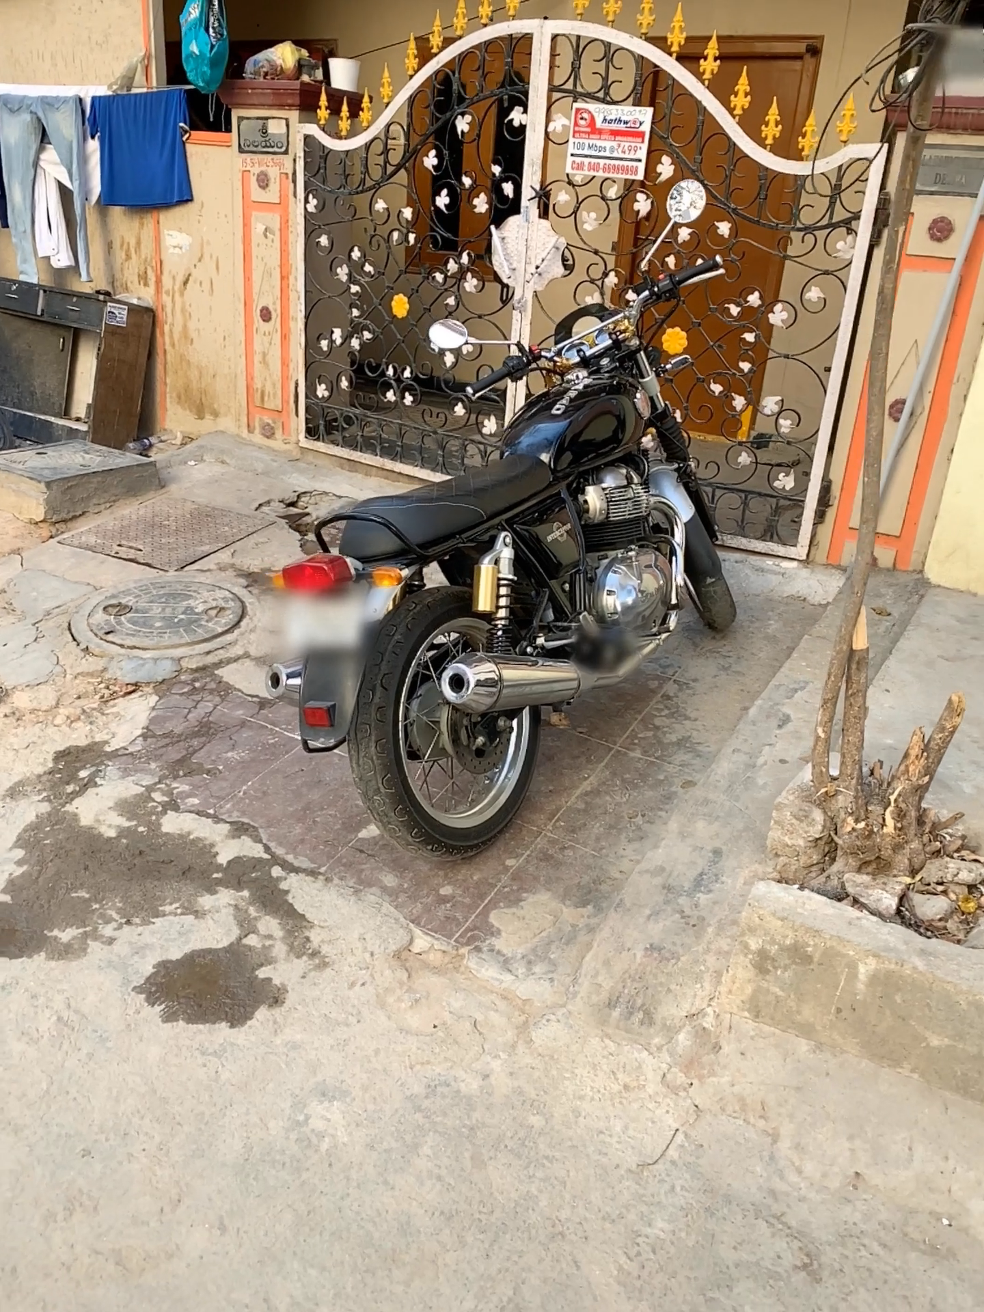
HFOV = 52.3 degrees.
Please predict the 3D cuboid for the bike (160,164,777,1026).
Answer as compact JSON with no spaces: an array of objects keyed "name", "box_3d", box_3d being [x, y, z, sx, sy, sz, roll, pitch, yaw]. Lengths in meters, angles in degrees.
[{"name":"bike","box_3d":[0.071,-0.436,2.769,0.792,1.522,1.911,14,30,21]}]
